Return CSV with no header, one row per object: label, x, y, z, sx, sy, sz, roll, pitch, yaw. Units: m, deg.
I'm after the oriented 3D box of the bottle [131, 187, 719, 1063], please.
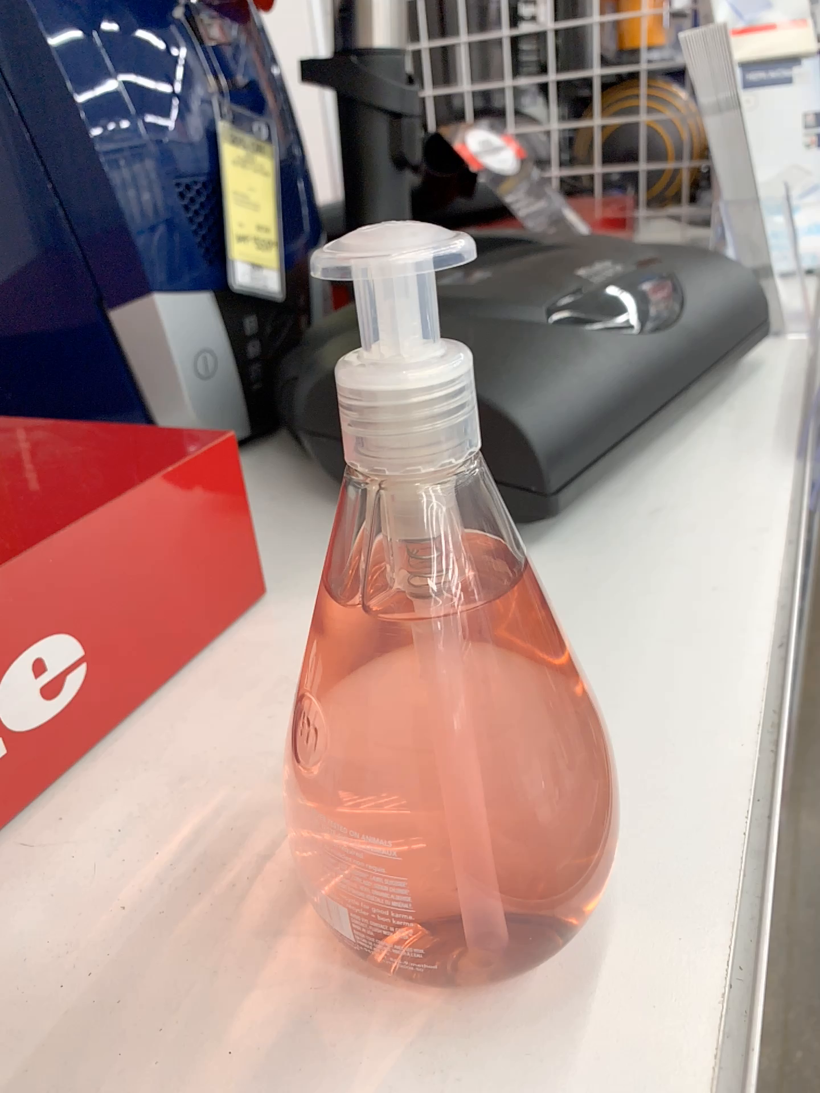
bottle,0.006,0.011,0.192,0.077,0.160,0.080,-5,26,3
